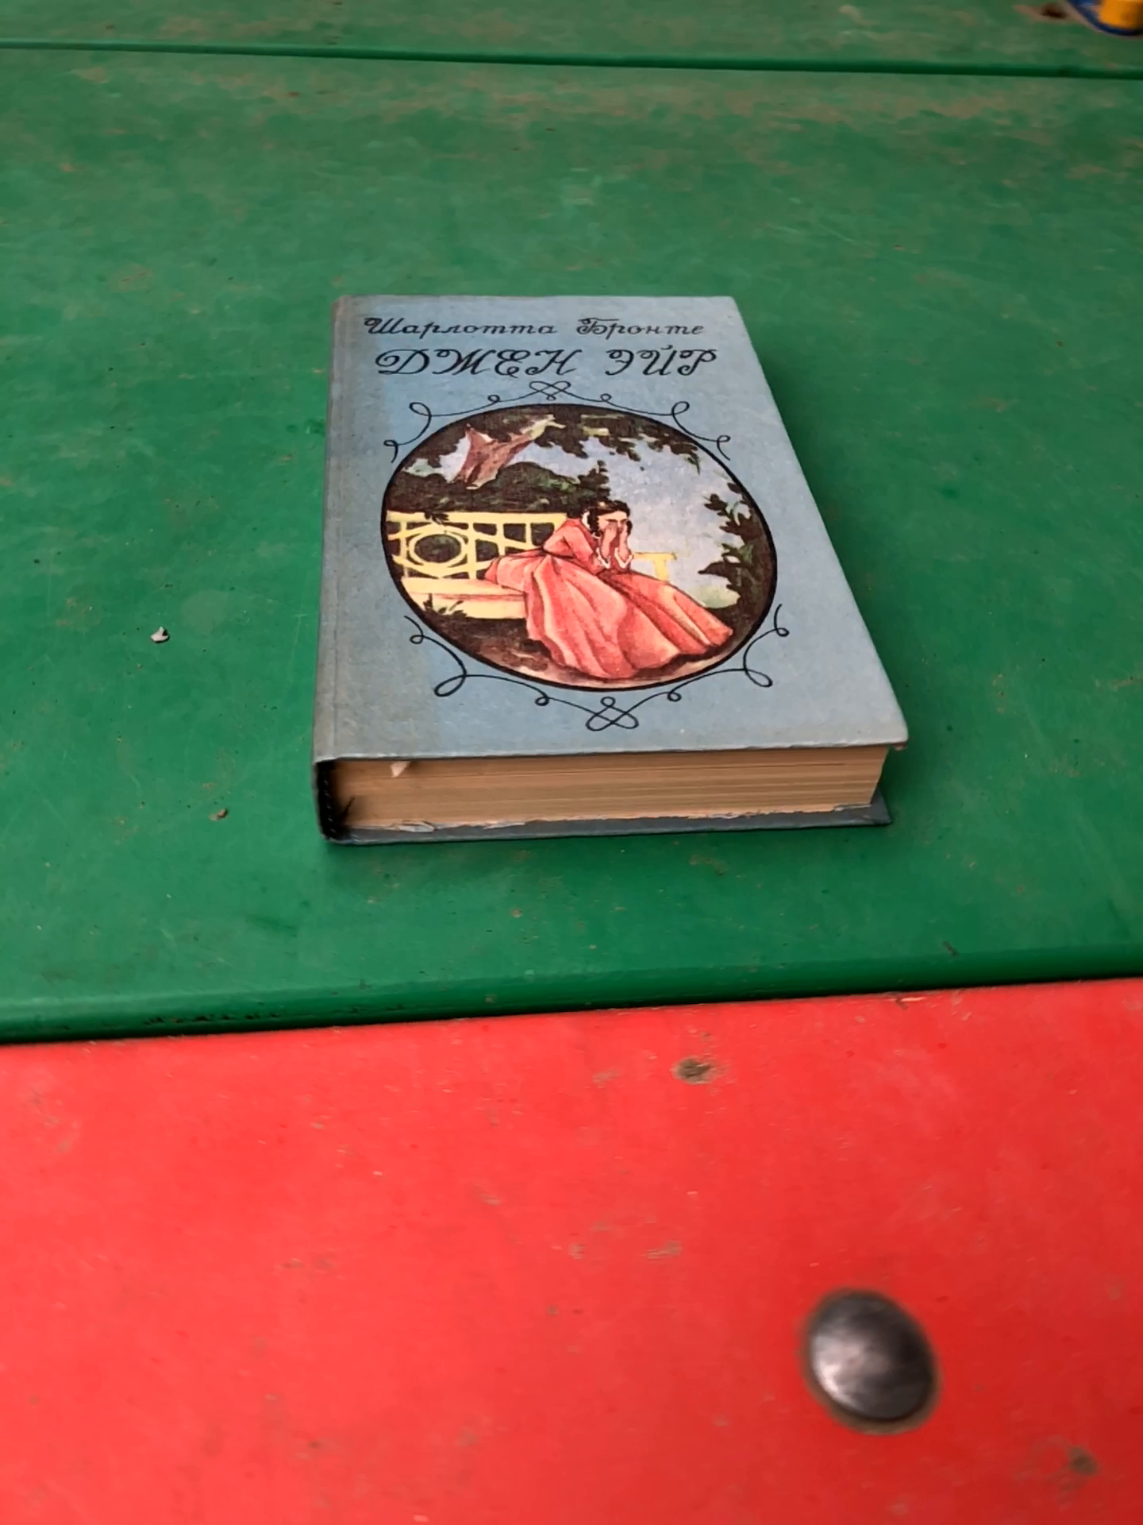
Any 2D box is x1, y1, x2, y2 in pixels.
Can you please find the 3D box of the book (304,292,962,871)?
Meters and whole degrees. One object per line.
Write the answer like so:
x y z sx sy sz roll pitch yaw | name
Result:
0.003 -0.062 0.333 0.135 0.030 0.196 -2 47 -7 | book
